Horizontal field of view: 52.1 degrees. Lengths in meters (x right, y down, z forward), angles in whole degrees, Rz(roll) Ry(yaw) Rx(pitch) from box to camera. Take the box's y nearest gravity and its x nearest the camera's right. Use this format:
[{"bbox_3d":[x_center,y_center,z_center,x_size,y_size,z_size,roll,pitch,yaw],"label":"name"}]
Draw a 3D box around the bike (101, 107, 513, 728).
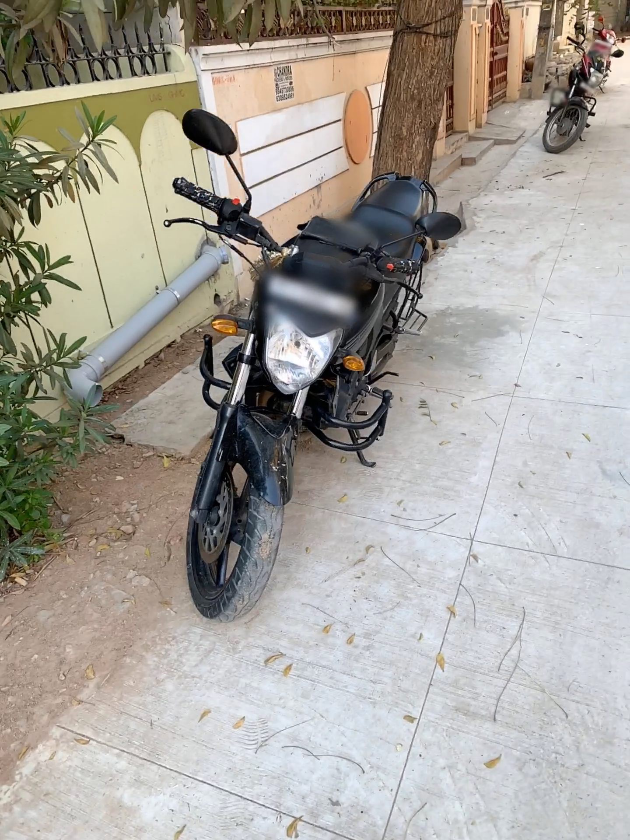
[{"bbox_3d":[0.189,-0.233,2.131,0.747,1.075,1.690,4,35,19],"label":"bike"}]
